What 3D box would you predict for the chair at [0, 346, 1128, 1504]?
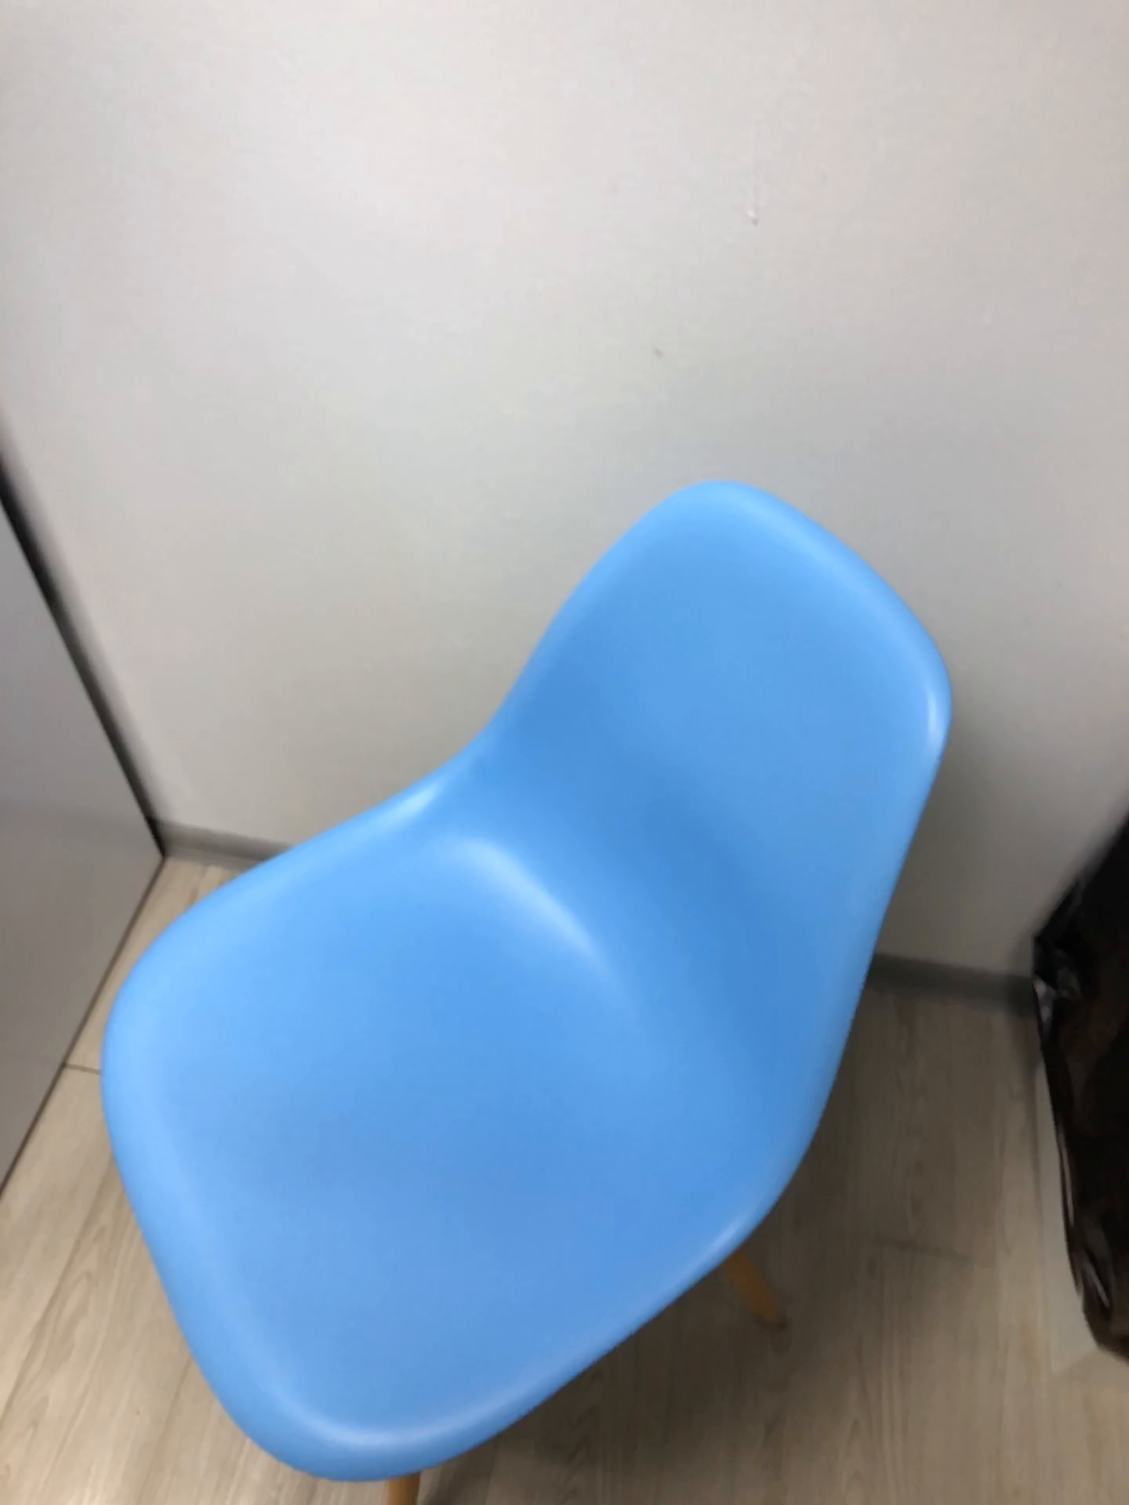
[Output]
[{"bbox_3d":[-0.056,0.228,0.924,0.531,0.776,0.462,-22,54,-17],"label":"chair"}]
